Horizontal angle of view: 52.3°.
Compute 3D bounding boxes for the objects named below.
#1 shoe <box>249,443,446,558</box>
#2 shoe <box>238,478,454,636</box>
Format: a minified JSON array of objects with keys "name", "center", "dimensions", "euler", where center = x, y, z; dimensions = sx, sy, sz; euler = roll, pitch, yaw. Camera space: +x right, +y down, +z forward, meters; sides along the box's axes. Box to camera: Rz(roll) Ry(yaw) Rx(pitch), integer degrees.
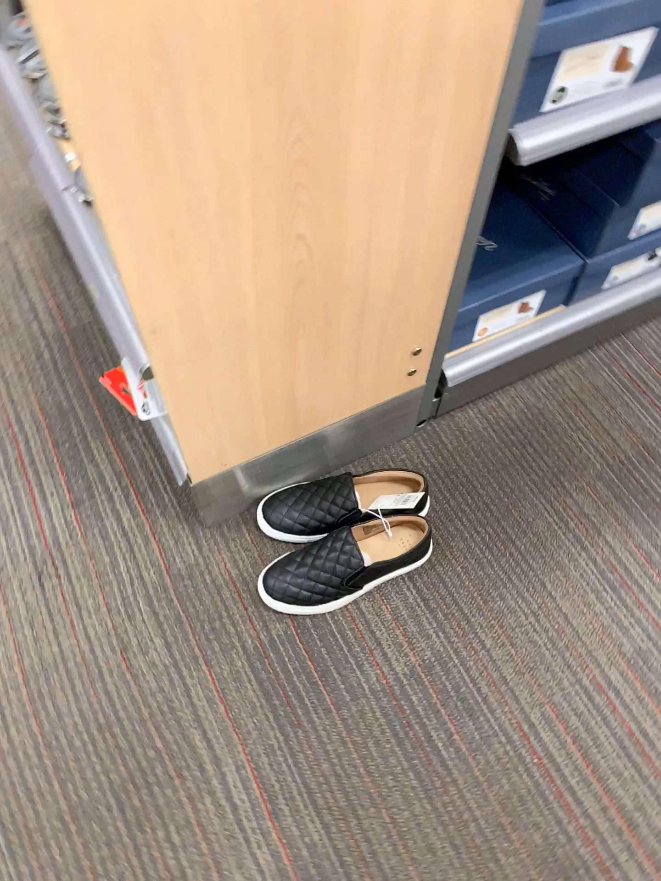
[{"name":"shoe","center":[0.021,0.088,0.973],"dimensions":[0.260,0.100,0.100],"euler":[-7,60,-6]},{"name":"shoe","center":[0.019,0.156,0.906],"dimensions":[0.260,0.100,0.100],"euler":[-18,62,-12]}]
